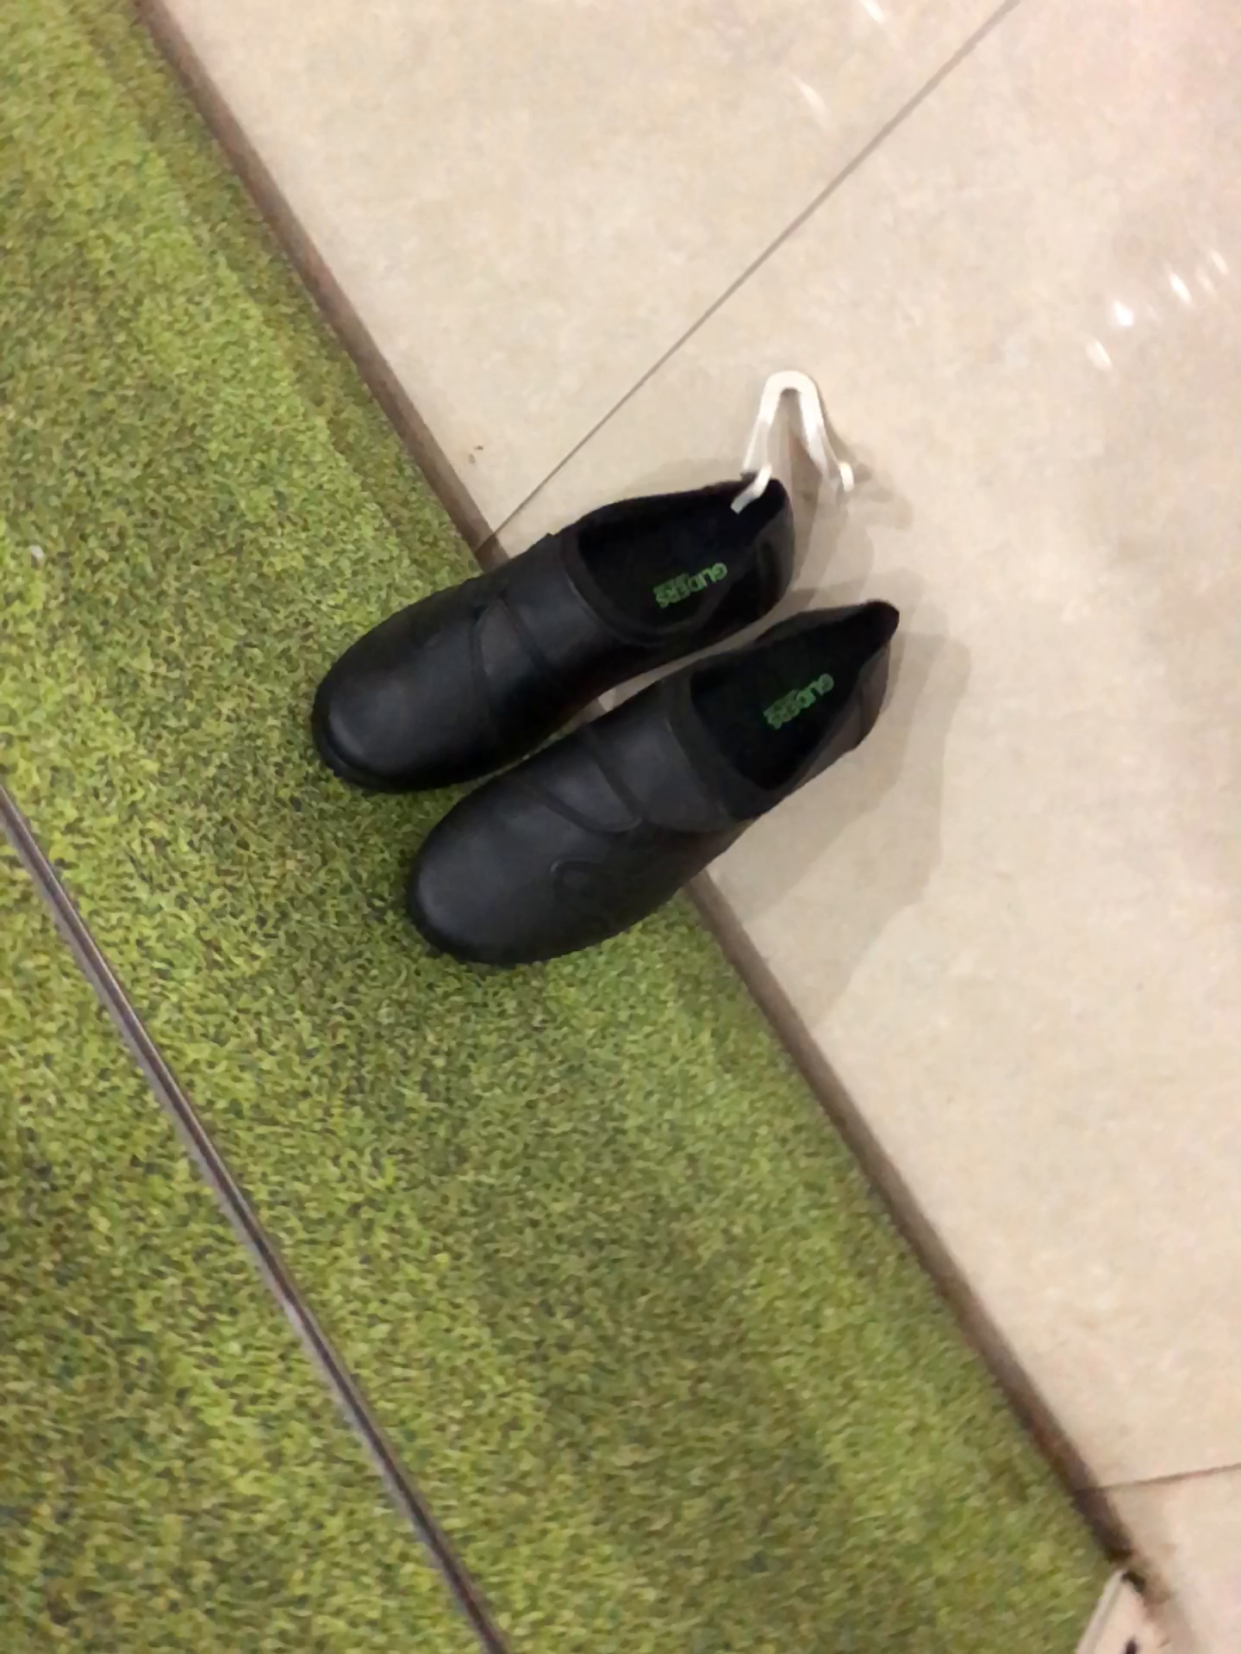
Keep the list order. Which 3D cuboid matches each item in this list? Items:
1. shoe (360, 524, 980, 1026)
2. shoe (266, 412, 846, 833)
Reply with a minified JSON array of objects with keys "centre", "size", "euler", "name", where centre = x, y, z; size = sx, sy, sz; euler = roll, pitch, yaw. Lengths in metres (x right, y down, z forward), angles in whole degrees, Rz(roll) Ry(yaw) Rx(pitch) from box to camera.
[{"centre":[0.018,-0.018,0.609],"size":[0.087,0.248,0.107],"euler":[57,170,4],"name":"shoe"},{"centre":[-0.027,-0.086,0.582],"size":[0.074,0.228,0.067],"euler":[62,165,1],"name":"shoe"}]
